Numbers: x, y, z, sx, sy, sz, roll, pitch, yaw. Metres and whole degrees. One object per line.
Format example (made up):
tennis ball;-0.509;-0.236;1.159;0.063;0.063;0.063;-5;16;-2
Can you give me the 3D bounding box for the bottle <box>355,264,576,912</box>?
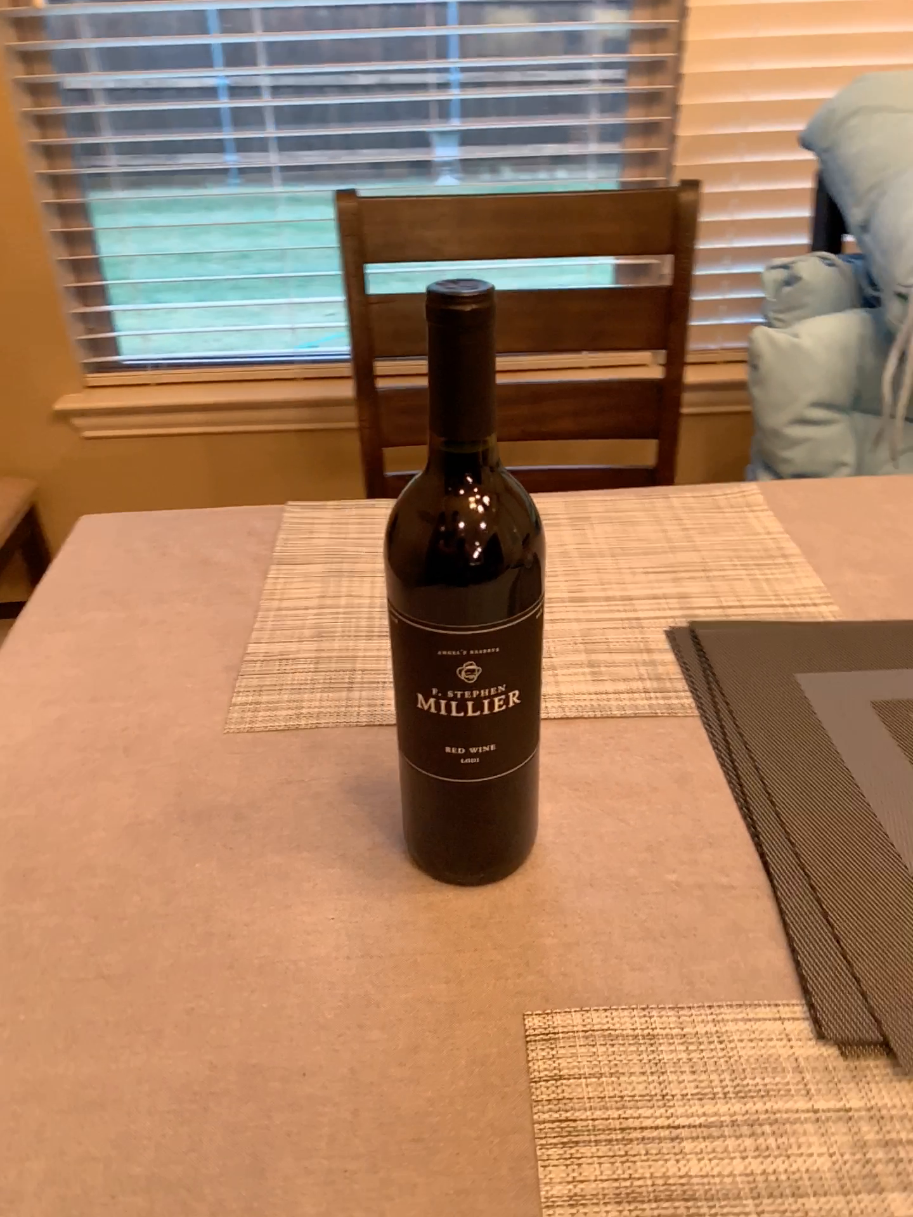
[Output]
bottle;0.006;0.006;0.454;0.080;0.314;0.080;-1;32;1
